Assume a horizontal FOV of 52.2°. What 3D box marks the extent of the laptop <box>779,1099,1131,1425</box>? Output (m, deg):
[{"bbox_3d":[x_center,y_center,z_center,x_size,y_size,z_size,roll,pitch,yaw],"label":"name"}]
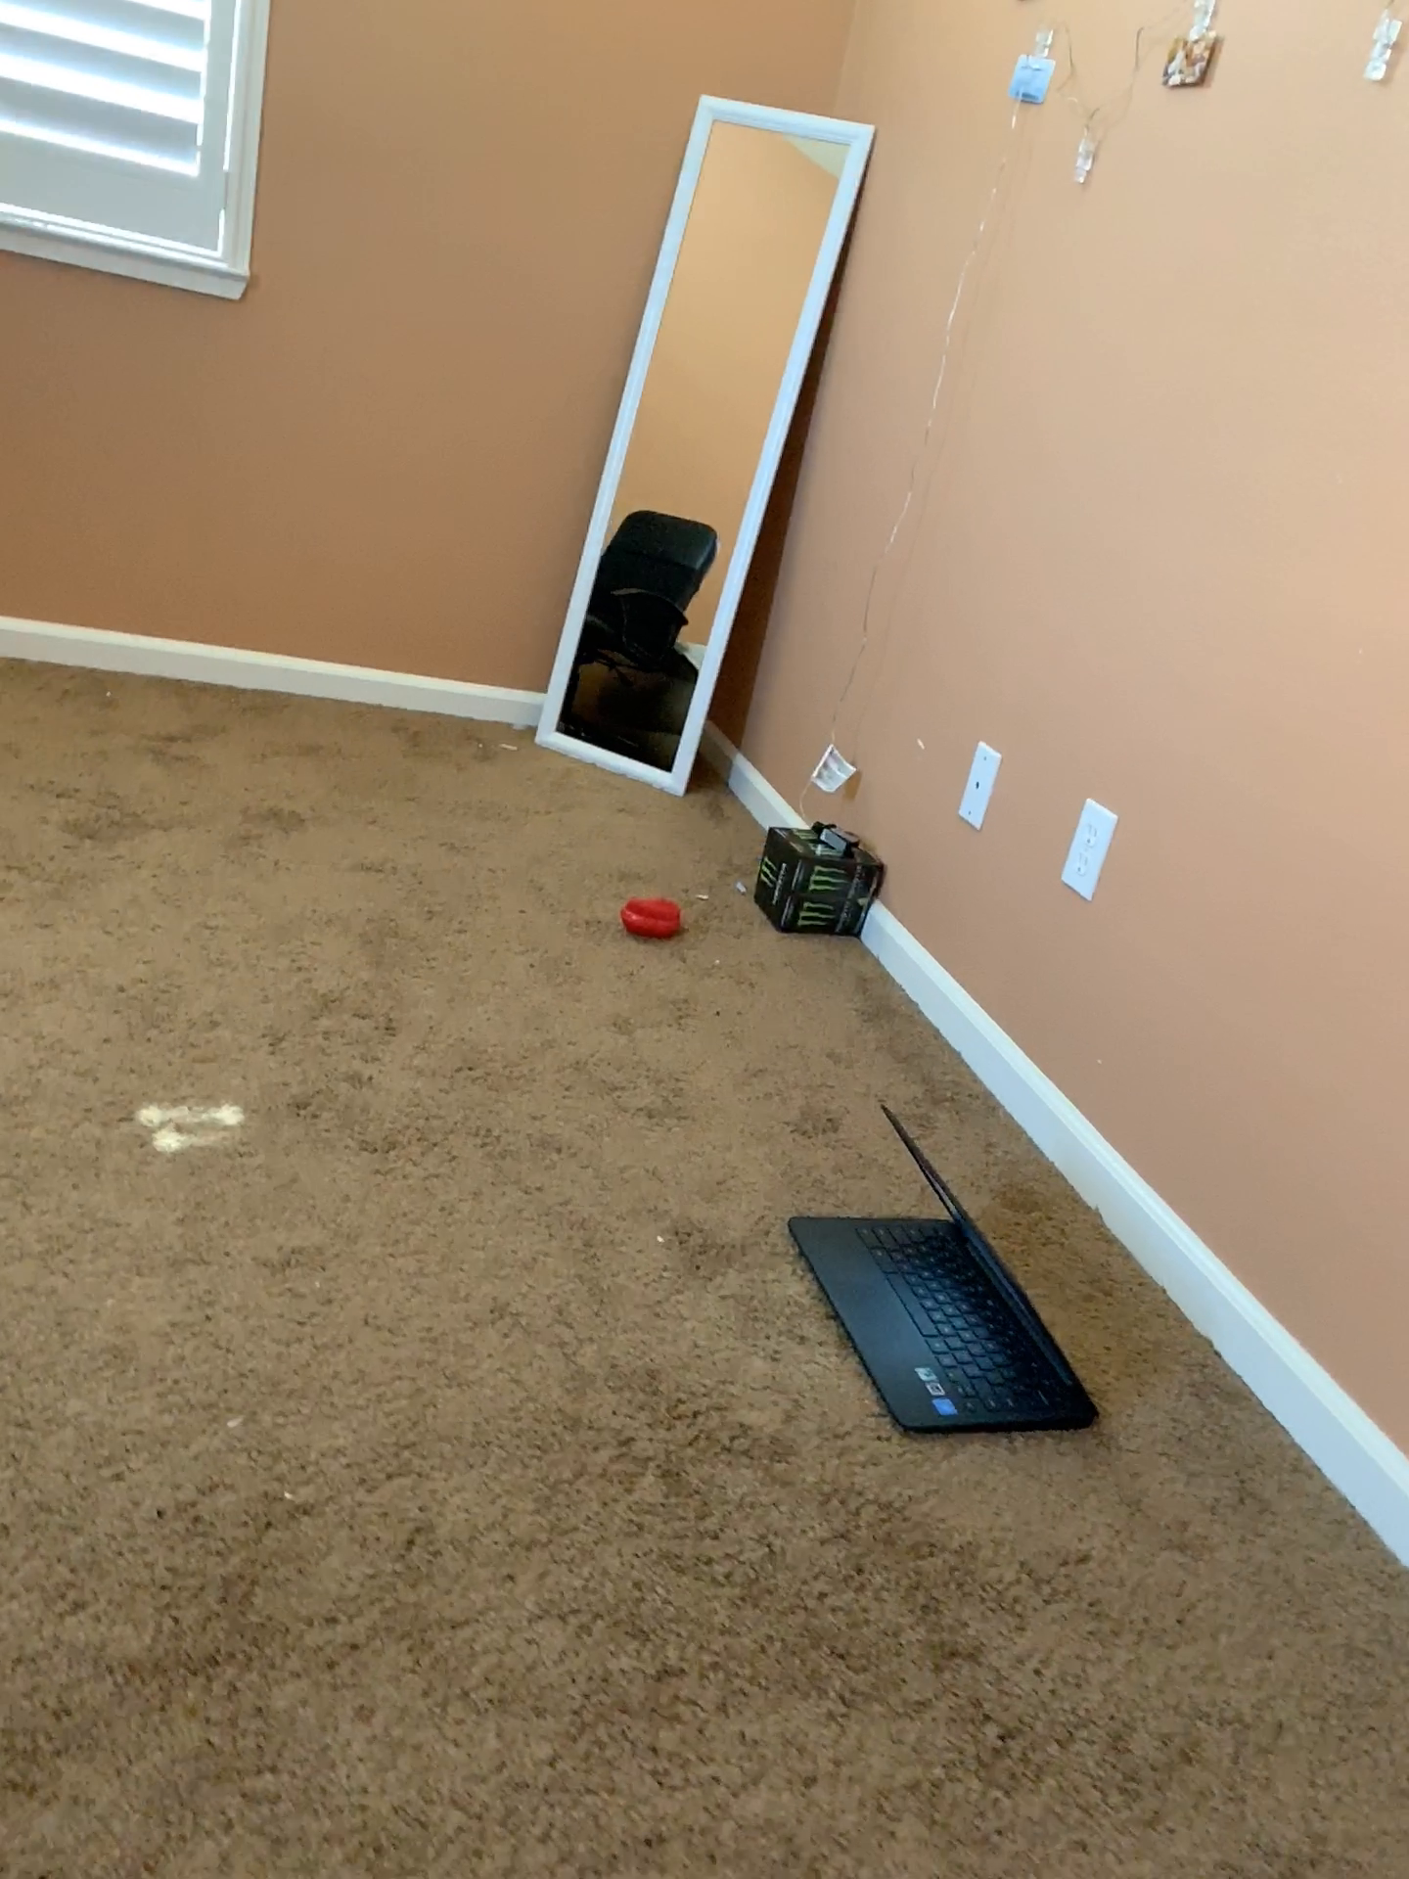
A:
[{"bbox_3d":[0.219,0.287,1.342,0.191,0.140,0.293,4,24,-19],"label":"laptop"}]
